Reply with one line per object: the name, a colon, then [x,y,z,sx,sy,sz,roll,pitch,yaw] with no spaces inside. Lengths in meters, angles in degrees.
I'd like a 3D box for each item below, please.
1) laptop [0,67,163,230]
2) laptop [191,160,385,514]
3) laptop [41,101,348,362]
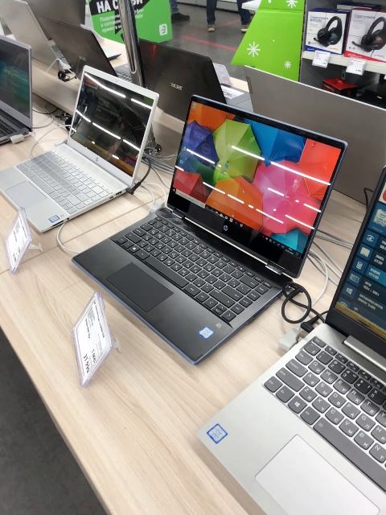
laptop: [-0.288,-0.270,0.963,0.323,0.171,0.293,-32,48,-29]
laptop: [0.236,0.122,0.376,0.330,0.218,0.352,-30,45,-28]
laptop: [0.001,-0.080,0.688,0.327,0.194,0.327,-32,46,-30]
